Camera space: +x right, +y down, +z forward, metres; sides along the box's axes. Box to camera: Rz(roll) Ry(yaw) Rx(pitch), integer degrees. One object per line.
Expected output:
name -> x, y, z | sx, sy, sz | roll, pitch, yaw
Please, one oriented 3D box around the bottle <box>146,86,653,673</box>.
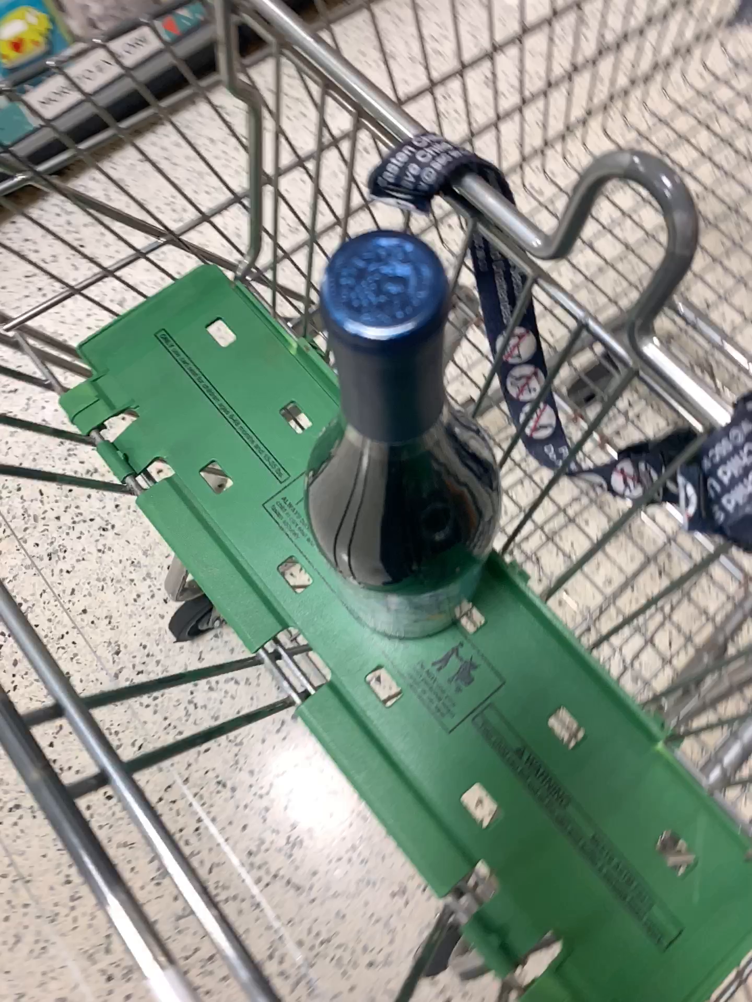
bottle -> 0.013, -0.002, 0.298 | 0.080, 0.287, 0.075 | -1, 71, 3
